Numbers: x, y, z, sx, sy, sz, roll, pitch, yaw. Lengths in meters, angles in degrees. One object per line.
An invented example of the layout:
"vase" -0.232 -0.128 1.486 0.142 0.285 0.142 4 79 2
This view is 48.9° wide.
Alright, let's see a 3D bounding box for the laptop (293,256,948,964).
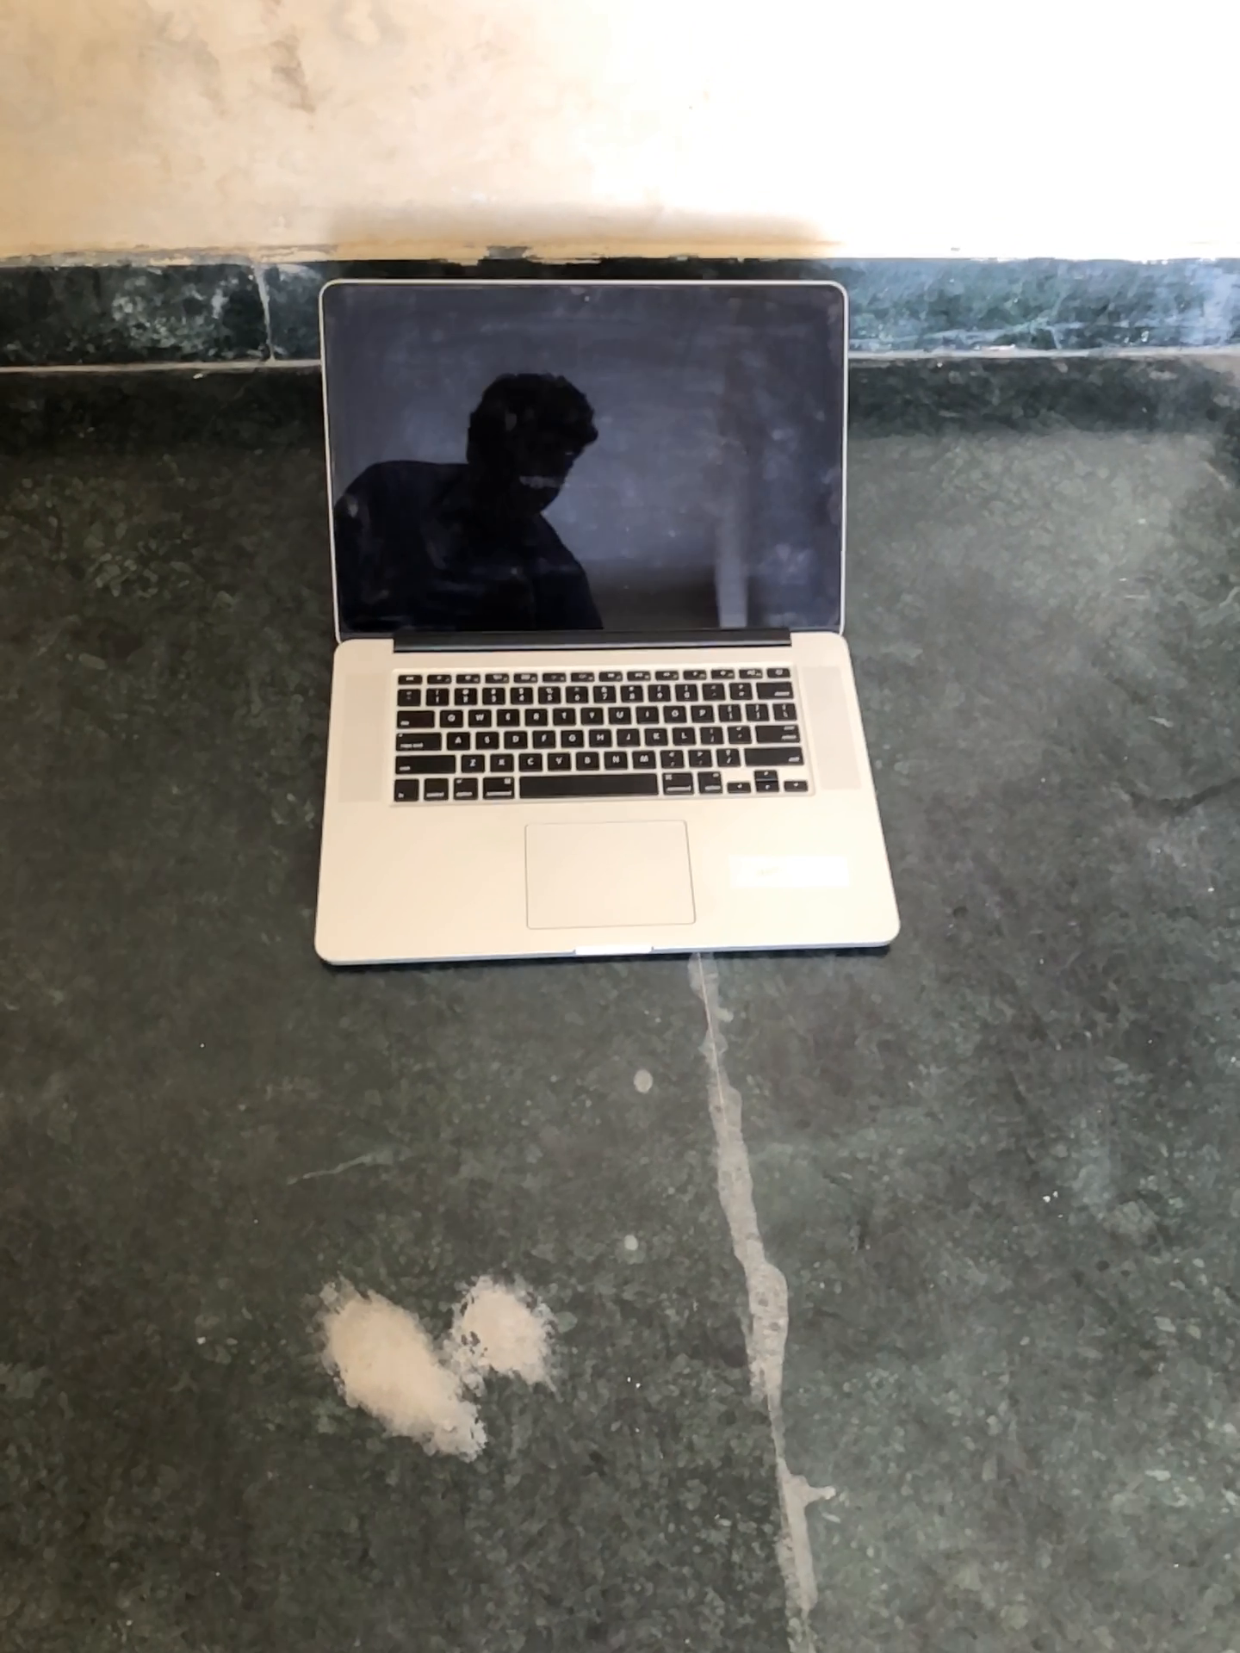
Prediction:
"laptop" -0.012 -0.154 0.865 0.342 0.130 0.435 -2 62 -6
